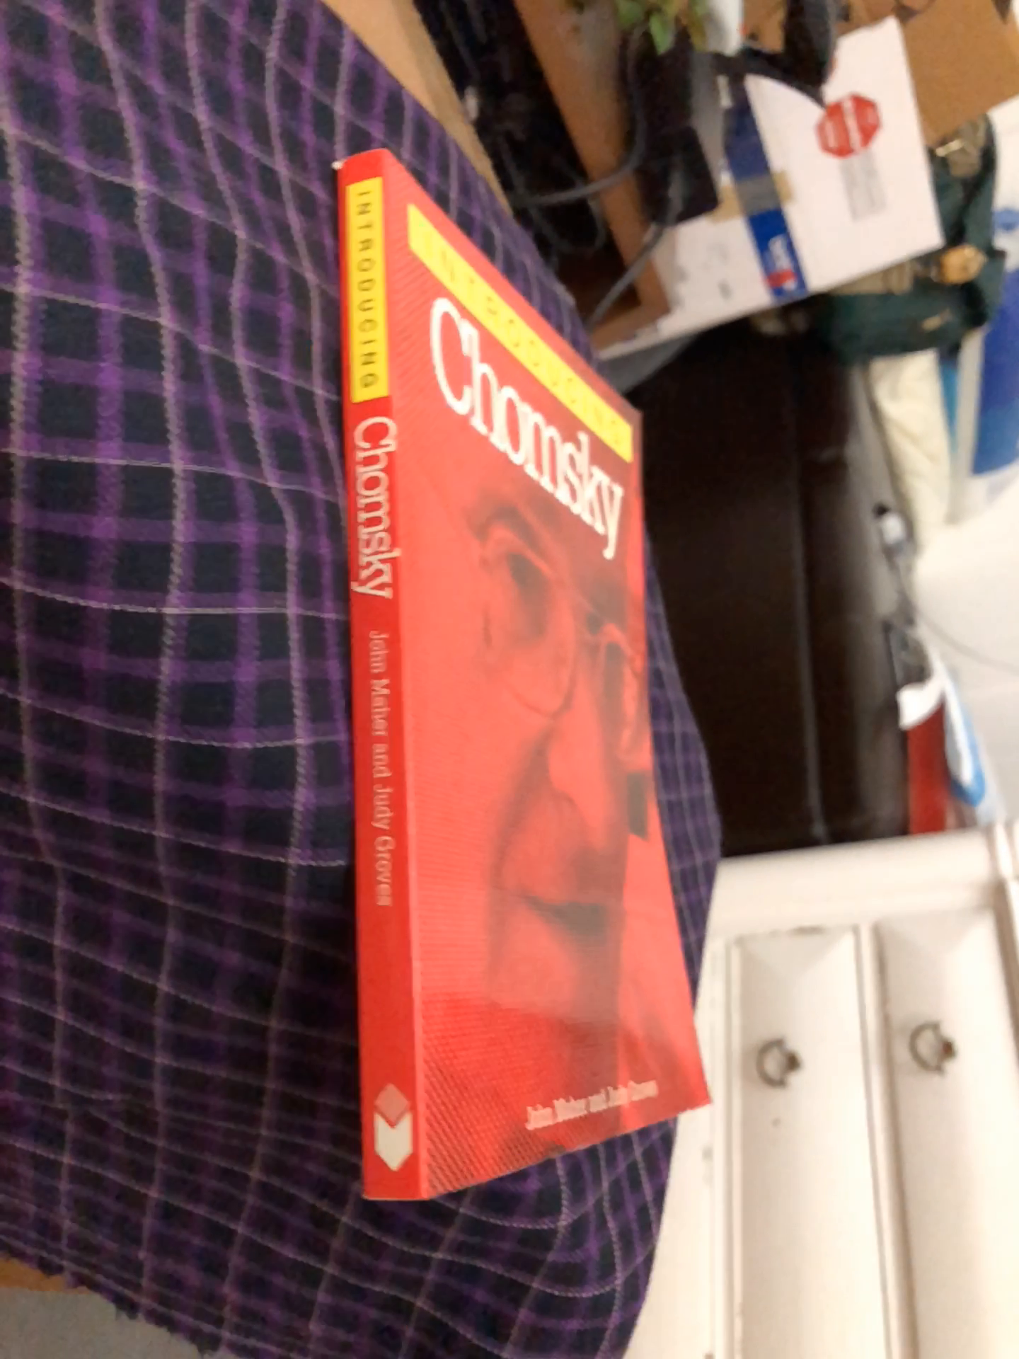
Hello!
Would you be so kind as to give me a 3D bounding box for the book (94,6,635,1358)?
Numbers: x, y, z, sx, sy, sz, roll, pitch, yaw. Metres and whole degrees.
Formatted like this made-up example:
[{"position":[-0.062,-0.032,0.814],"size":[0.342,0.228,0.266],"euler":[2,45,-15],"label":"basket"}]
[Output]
[{"position":[-0.024,0.003,0.276],"size":[0.181,0.020,0.240],"euler":[24,57,-61],"label":"book"}]
